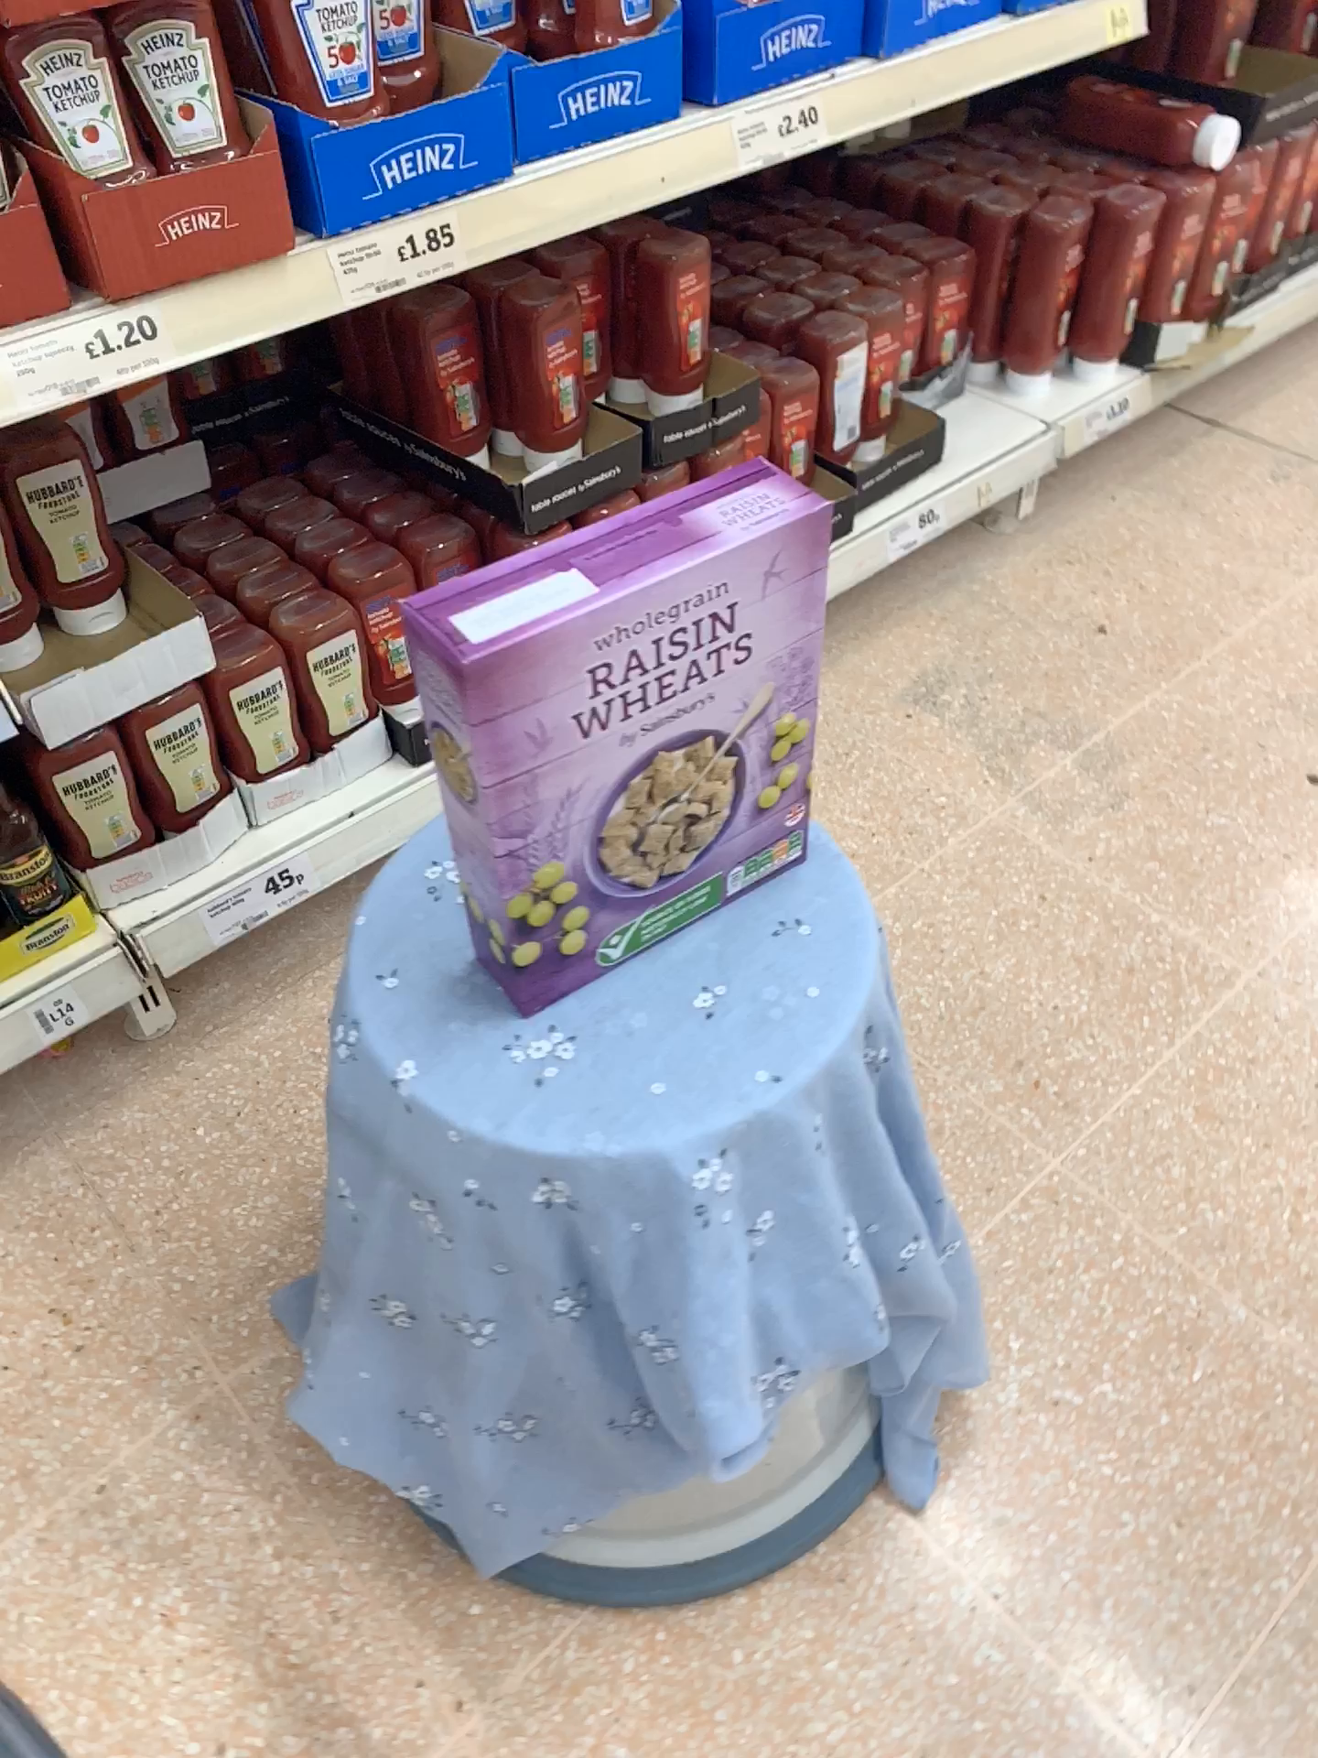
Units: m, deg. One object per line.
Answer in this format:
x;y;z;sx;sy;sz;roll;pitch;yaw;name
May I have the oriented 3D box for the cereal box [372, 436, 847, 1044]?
-0.015;-0.061;0.648;0.201;0.238;0.060;-28;52;-24;cereal box
